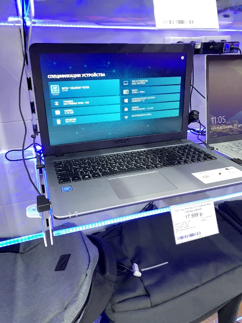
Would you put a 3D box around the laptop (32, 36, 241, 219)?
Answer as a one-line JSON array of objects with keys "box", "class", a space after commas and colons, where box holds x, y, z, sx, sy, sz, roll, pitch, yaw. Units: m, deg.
[{"box": [0.042, -0.101, 0.479, 0.372, 0.232, 0.263, -8, 24, -18], "class": "laptop"}]
